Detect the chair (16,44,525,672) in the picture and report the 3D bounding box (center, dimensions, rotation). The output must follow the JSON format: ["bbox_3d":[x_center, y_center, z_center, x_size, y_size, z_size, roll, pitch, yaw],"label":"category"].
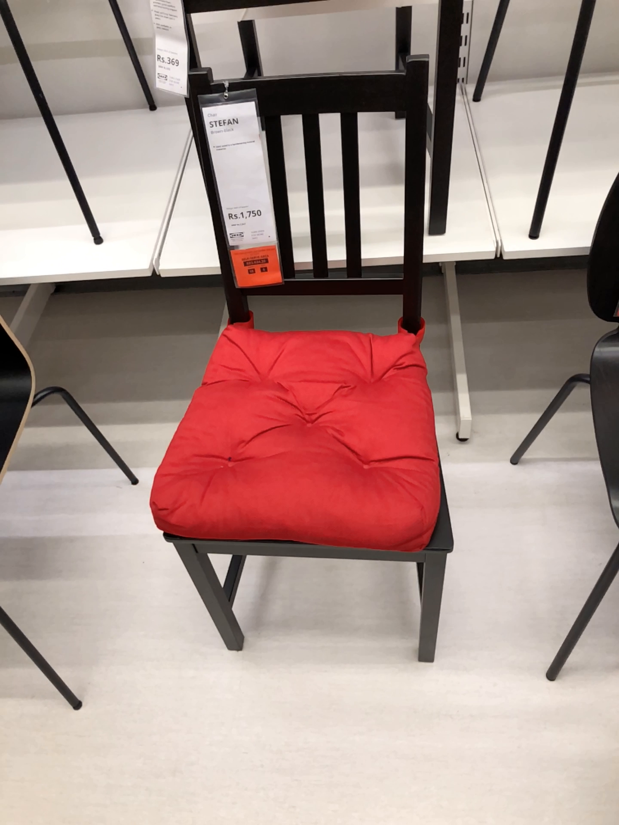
[{"bbox_3d":[0.021,-0.006,1.037,0.430,0.835,0.483,0,51,8],"label":"chair"}]
